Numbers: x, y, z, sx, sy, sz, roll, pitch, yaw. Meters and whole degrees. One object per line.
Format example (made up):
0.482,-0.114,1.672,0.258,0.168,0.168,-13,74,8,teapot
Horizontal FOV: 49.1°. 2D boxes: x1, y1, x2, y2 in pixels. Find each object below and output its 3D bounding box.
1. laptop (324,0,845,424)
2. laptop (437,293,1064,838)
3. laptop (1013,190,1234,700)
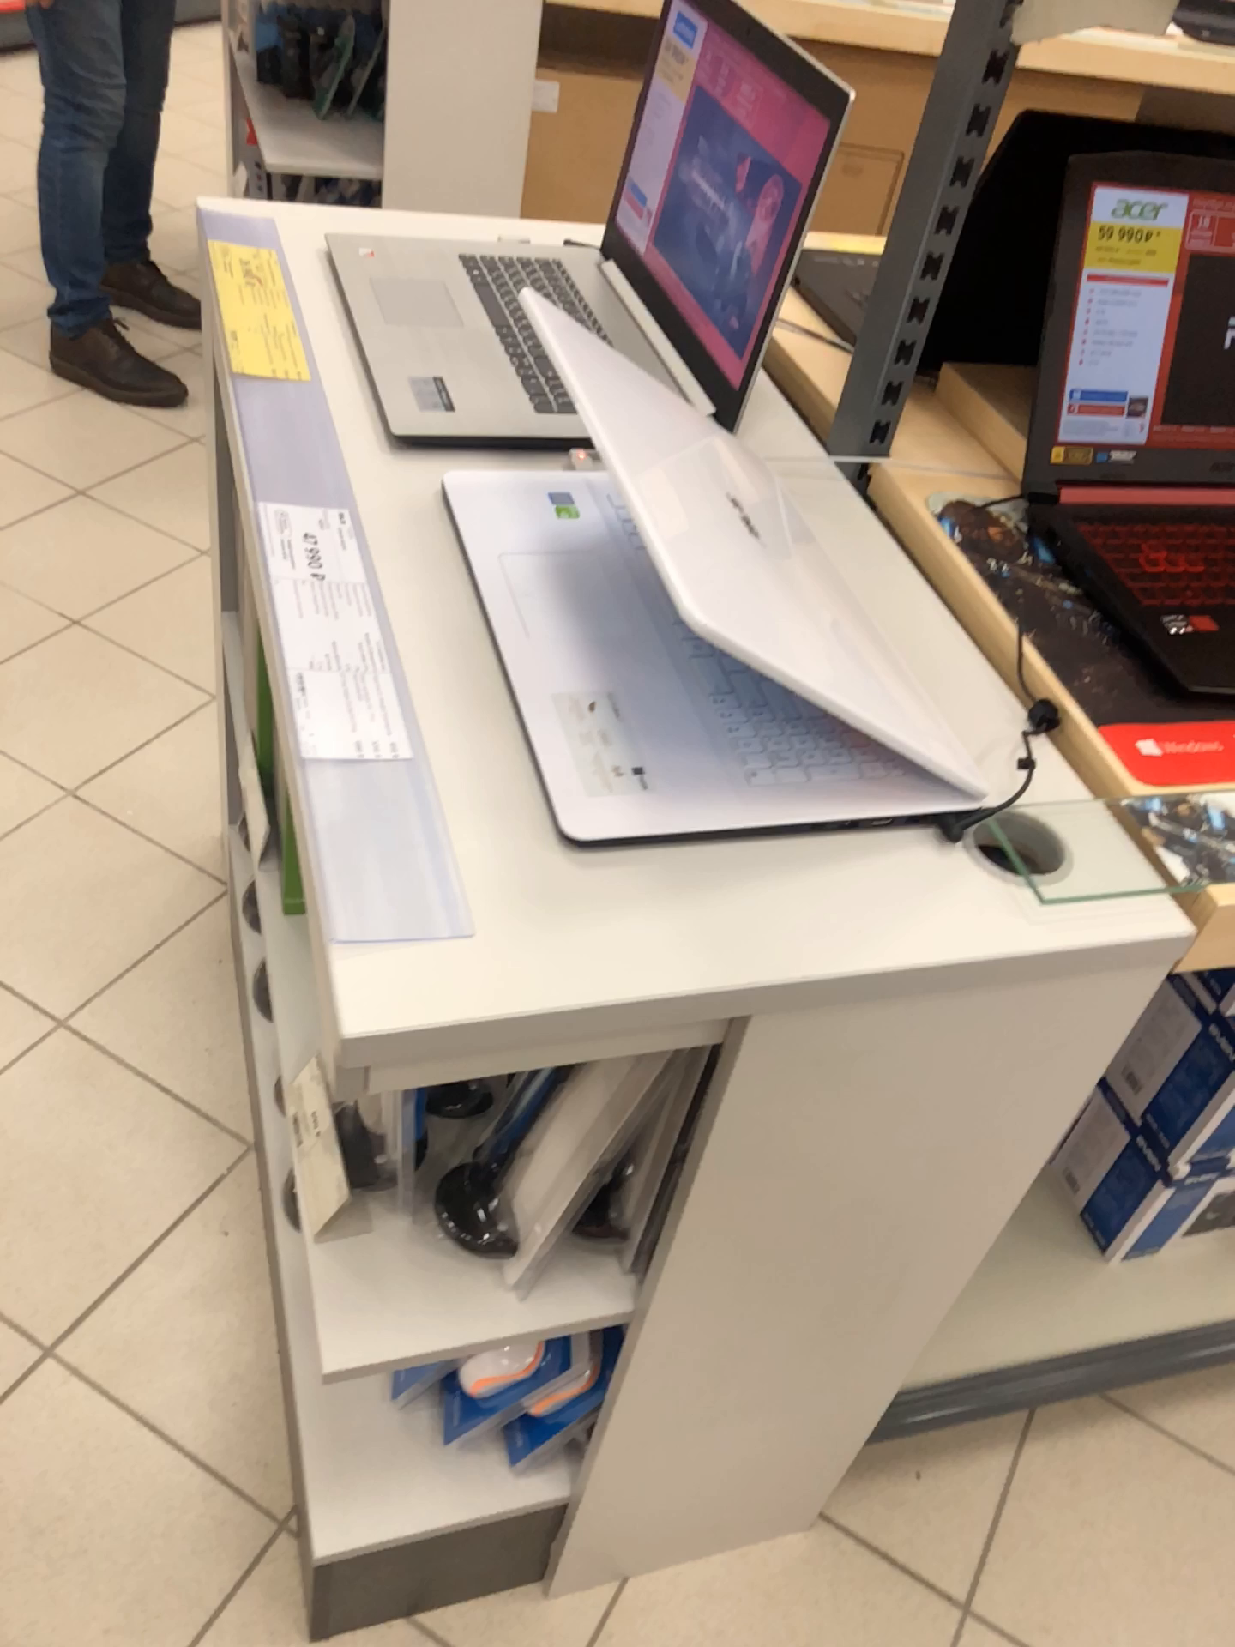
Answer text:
-0.058,-0.565,1.173,0.337,0.262,0.393,-6,44,-20,laptop
0.057,-0.188,0.891,0.257,0.142,0.392,-5,45,-20,laptop
0.565,-0.311,1.045,0.377,0.220,0.367,-2,42,-13,laptop
